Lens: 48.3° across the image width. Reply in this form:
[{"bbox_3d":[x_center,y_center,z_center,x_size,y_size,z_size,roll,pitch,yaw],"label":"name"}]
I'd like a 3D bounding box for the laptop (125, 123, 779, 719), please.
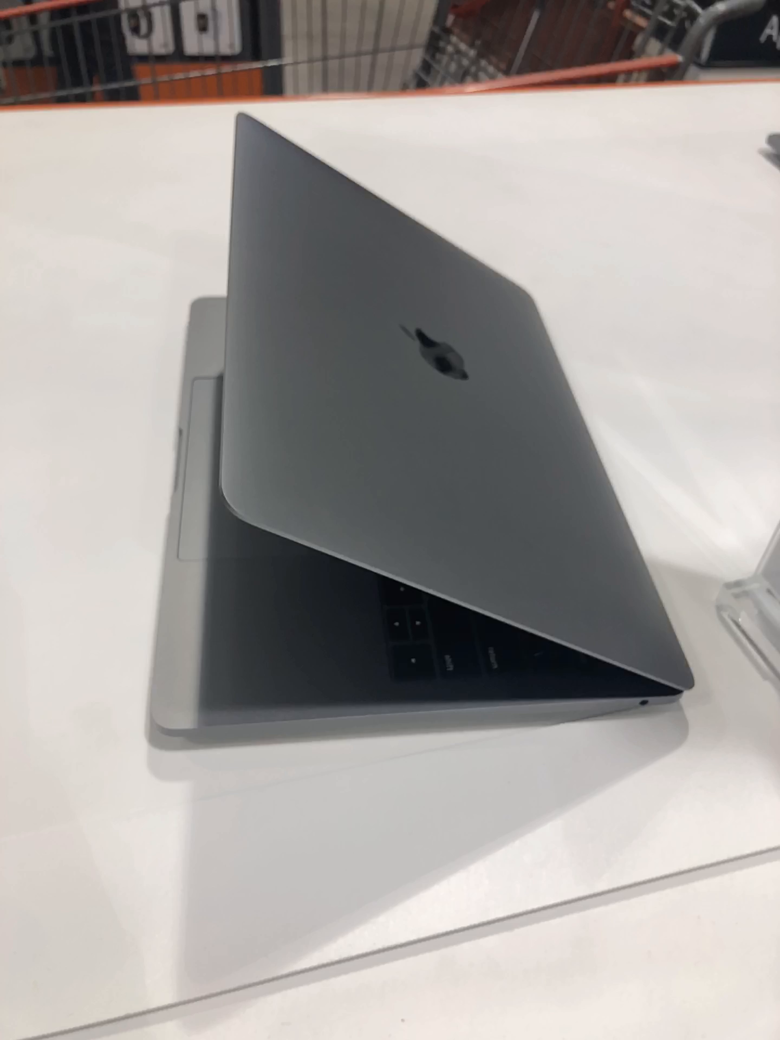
[{"bbox_3d":[0.004,-0.071,0.408,0.204,0.109,0.296,-2,45,-6],"label":"laptop"}]
